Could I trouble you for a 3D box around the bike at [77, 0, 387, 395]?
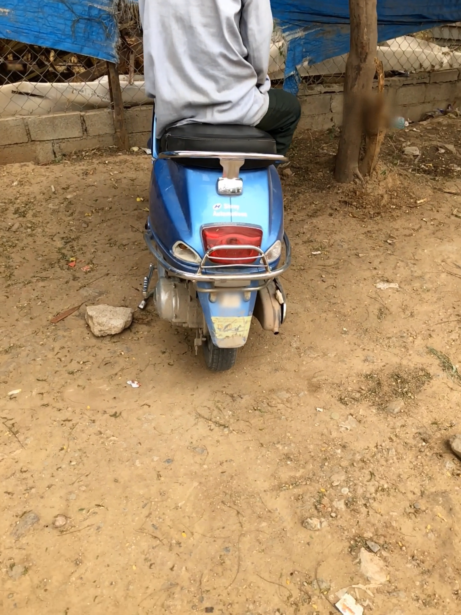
[{"bbox_3d":[-0.161,-0.736,2.103,0.632,1.253,1.574,-8,38,-13],"label":"bike"}]
